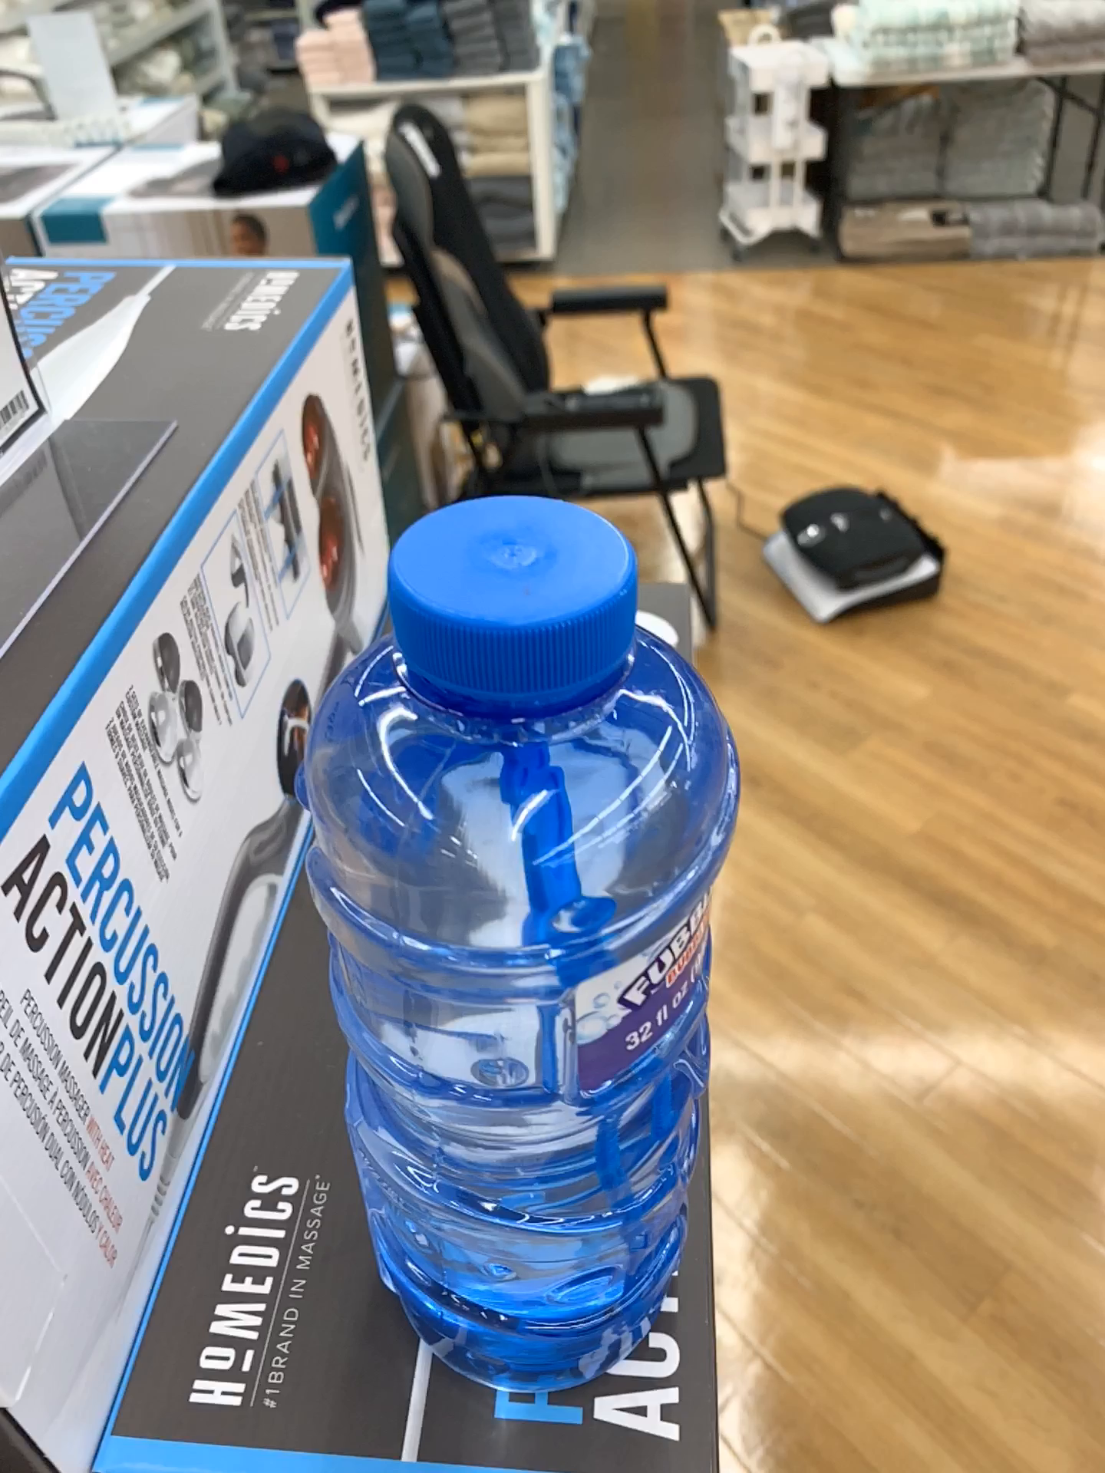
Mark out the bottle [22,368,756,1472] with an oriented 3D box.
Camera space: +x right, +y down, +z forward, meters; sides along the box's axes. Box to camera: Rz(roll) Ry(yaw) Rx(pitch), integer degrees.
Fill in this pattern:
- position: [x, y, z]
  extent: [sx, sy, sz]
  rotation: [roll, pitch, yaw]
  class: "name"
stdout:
- position: [-0.015, 0.057, 0.255]
  extent: [0.081, 0.243, 0.081]
  rotation: [-3, 40, 2]
  class: "bottle"
